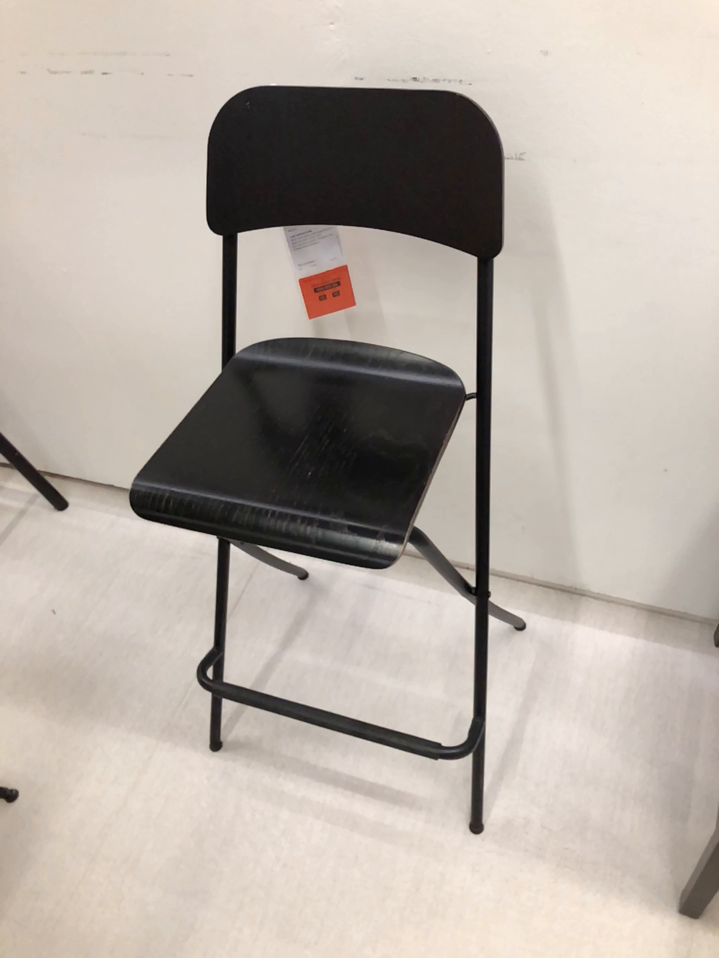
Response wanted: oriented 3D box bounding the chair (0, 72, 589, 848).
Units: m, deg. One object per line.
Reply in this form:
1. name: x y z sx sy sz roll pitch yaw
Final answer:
1. chair: -0.022 0.018 1.048 0.491 0.884 0.472 10 48 18
